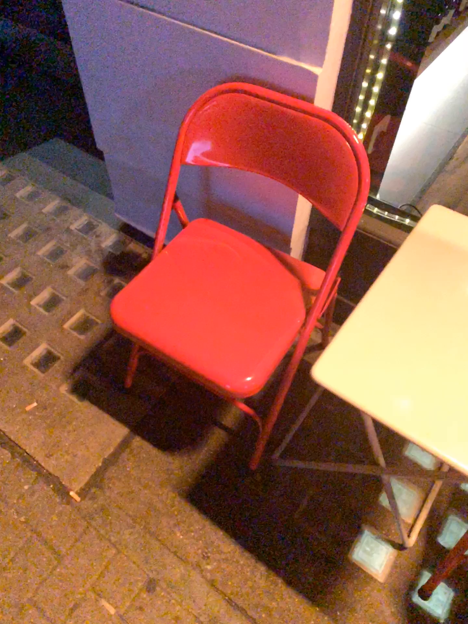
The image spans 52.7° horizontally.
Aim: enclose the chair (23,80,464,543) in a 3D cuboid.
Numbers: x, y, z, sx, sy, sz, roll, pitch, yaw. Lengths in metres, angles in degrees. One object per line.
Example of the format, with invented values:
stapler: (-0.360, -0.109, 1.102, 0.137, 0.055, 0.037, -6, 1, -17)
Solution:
chair: (0.035, 0.041, 1.030, 0.471, 0.744, 0.533, 29, 58, 19)
